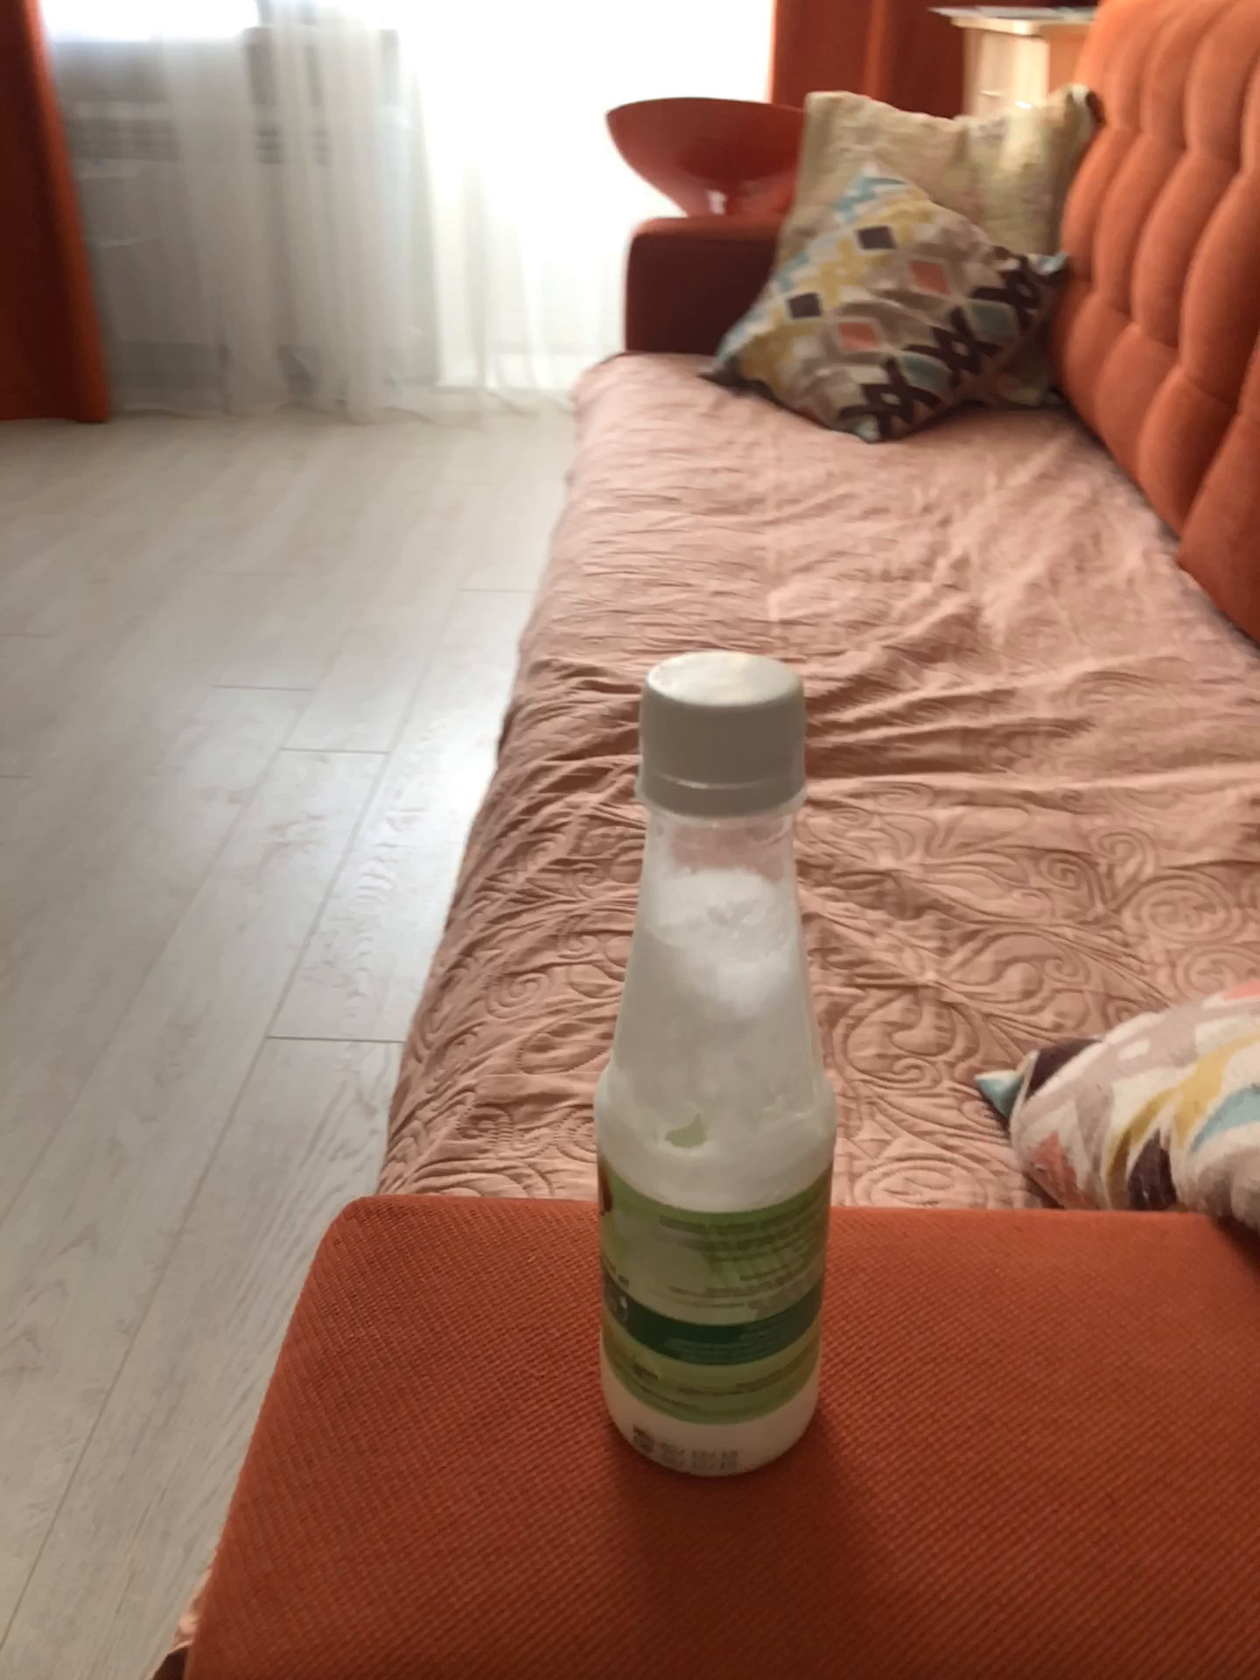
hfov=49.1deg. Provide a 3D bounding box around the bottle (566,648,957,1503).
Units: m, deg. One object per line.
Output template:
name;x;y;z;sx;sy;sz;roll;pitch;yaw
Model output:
bottle;0.020;0.055;0.295;0.060;0.179;0.060;0;30;0
